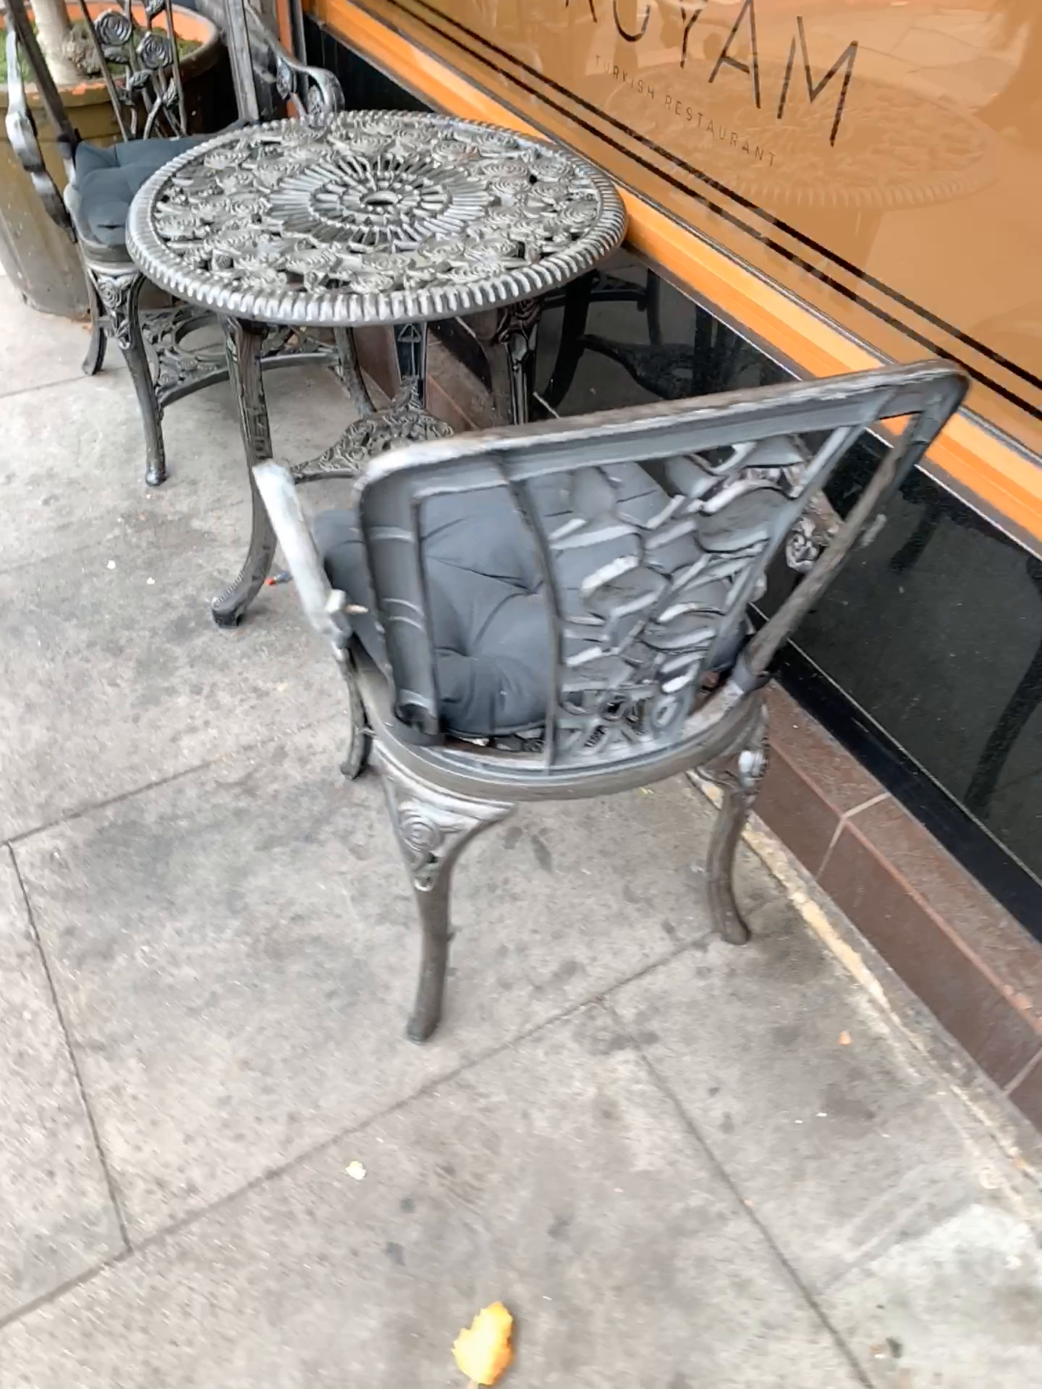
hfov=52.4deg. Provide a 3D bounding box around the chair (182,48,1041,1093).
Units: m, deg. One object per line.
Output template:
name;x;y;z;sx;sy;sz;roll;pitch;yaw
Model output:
chair;0.022;-0.080;1.102;0.491;0.852;0.555;-15;53;-16
